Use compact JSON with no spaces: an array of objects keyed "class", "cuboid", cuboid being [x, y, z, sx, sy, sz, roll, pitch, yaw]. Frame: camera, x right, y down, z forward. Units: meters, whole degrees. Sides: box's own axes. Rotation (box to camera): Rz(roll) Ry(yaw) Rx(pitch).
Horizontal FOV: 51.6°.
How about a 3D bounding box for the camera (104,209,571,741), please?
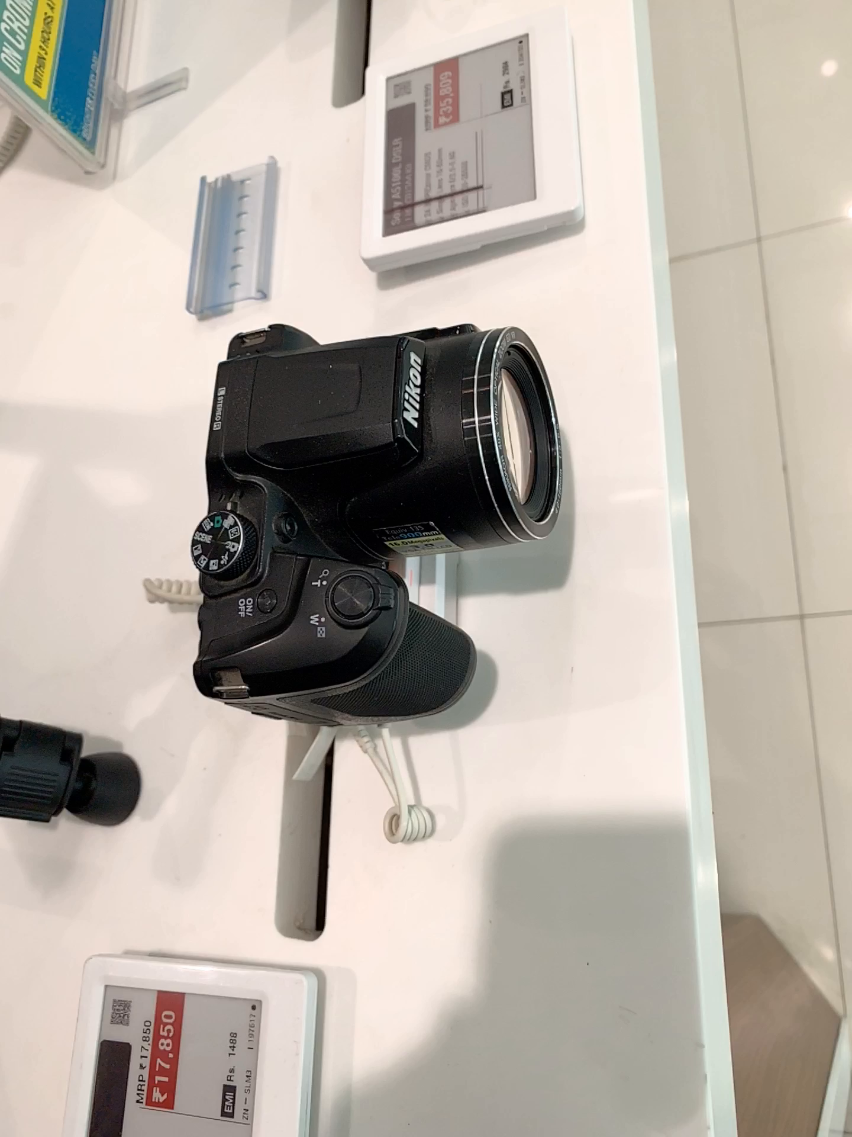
[{"class":"camera","cuboid":[-0.019,-0.017,0.259,0.100,0.080,0.120,-7,69,25]}]
